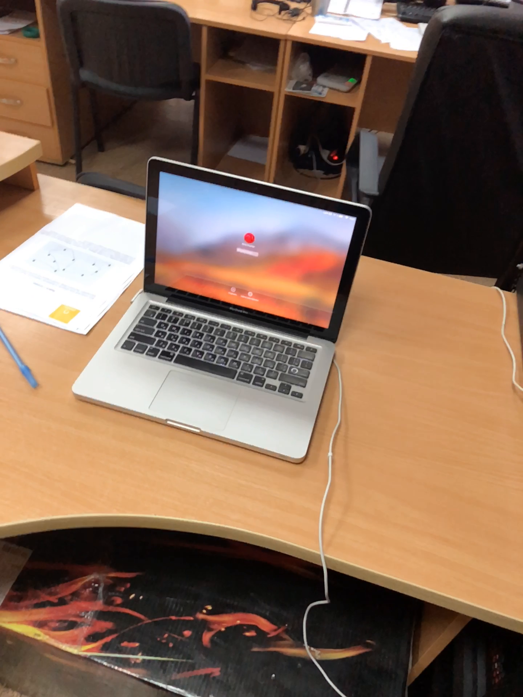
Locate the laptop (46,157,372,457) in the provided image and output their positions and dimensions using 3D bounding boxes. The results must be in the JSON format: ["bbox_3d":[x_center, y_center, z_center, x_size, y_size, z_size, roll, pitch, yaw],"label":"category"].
[{"bbox_3d":[-0.052,-0.066,0.758,0.315,0.207,0.267,15,44,7],"label":"laptop"}]
